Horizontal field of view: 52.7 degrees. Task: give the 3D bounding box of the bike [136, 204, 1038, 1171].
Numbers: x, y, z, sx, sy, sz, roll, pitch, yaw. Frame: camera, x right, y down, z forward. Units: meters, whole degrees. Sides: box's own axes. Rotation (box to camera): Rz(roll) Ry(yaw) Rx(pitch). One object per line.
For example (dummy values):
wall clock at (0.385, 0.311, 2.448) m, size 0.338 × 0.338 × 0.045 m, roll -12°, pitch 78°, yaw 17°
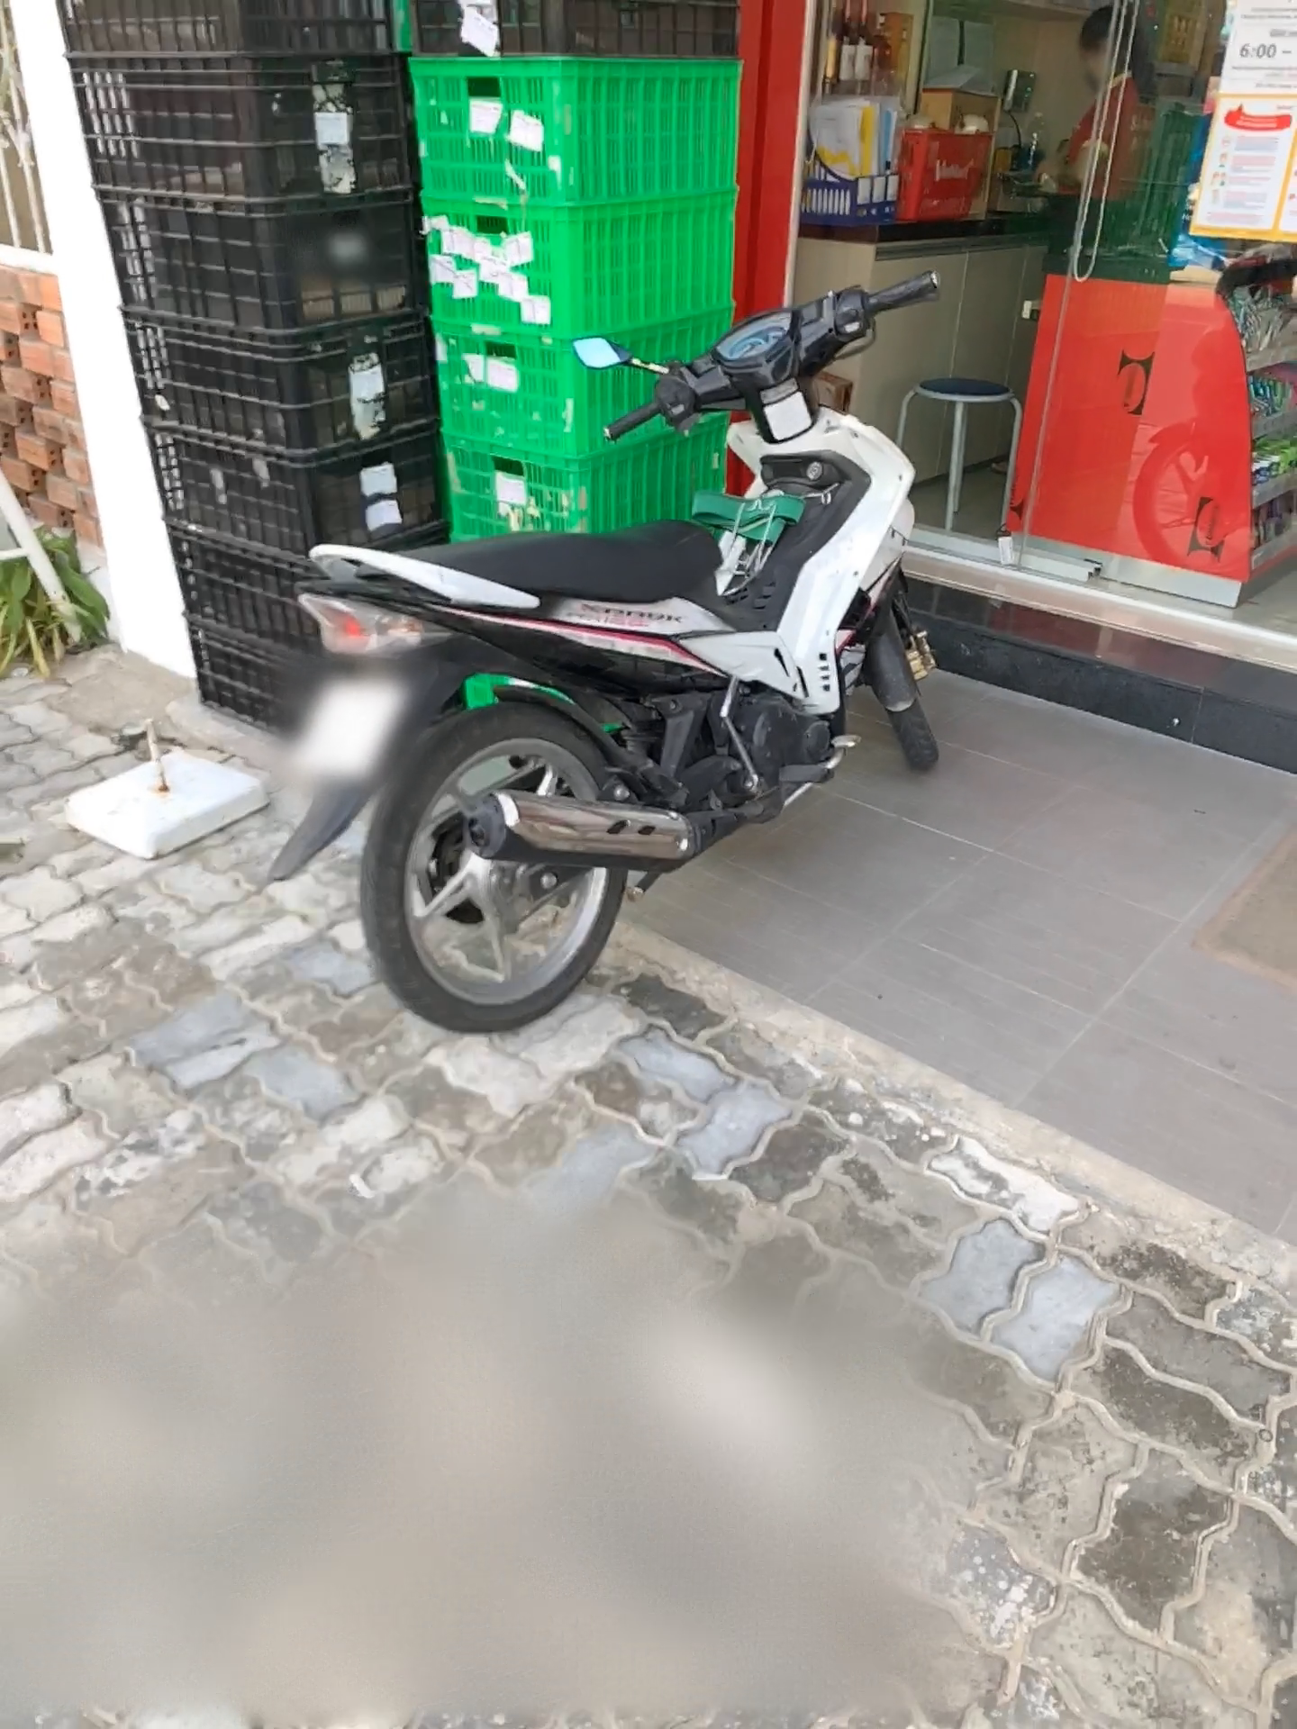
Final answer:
bike at (0.038, -0.545, 2.584) m, size 0.668 × 1.186 × 1.821 m, roll 19°, pitch 36°, yaw 29°
